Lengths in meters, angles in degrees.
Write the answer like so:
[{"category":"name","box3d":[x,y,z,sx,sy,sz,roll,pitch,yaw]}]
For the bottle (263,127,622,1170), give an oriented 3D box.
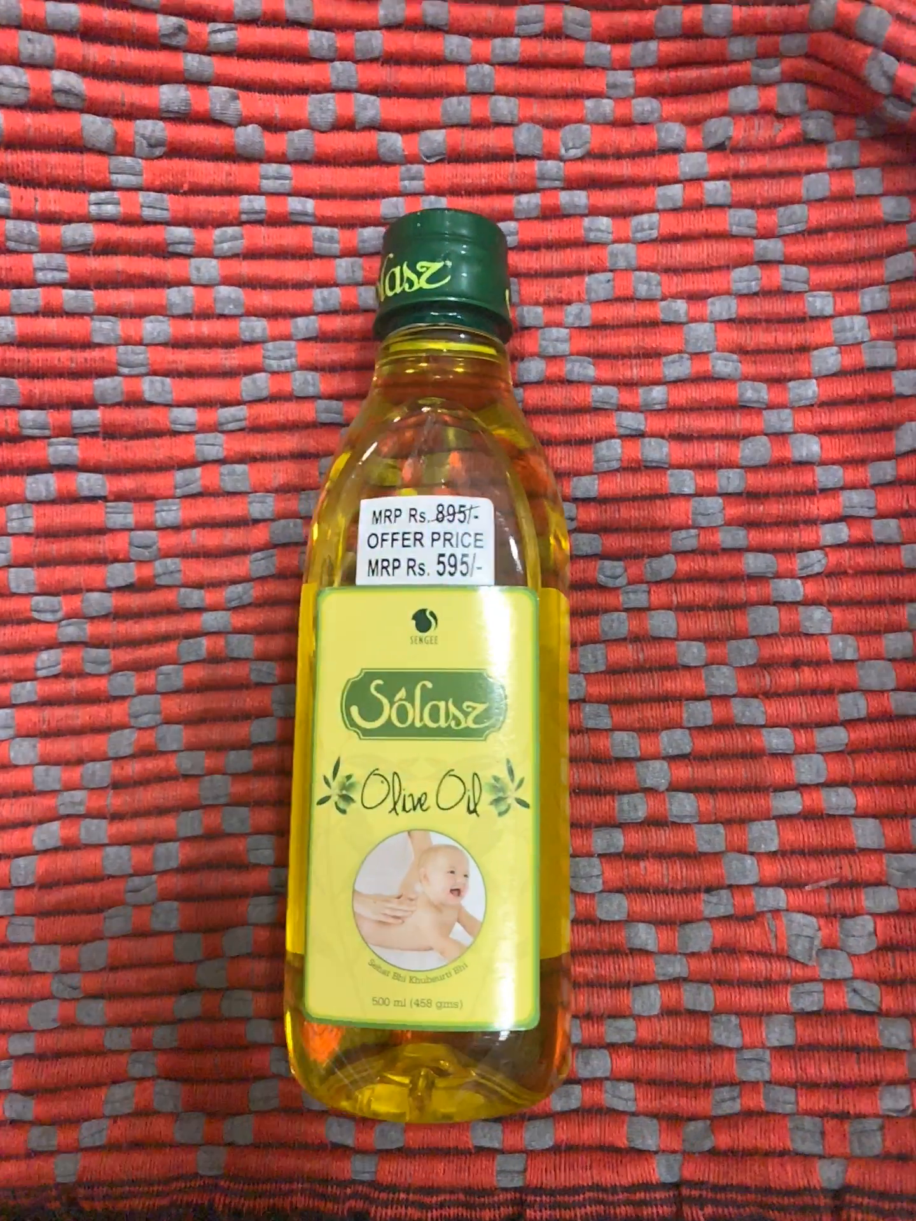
[{"category":"bottle","box3d":[0.002,0.003,0.232,0.070,0.060,0.220,0,80,6]}]
